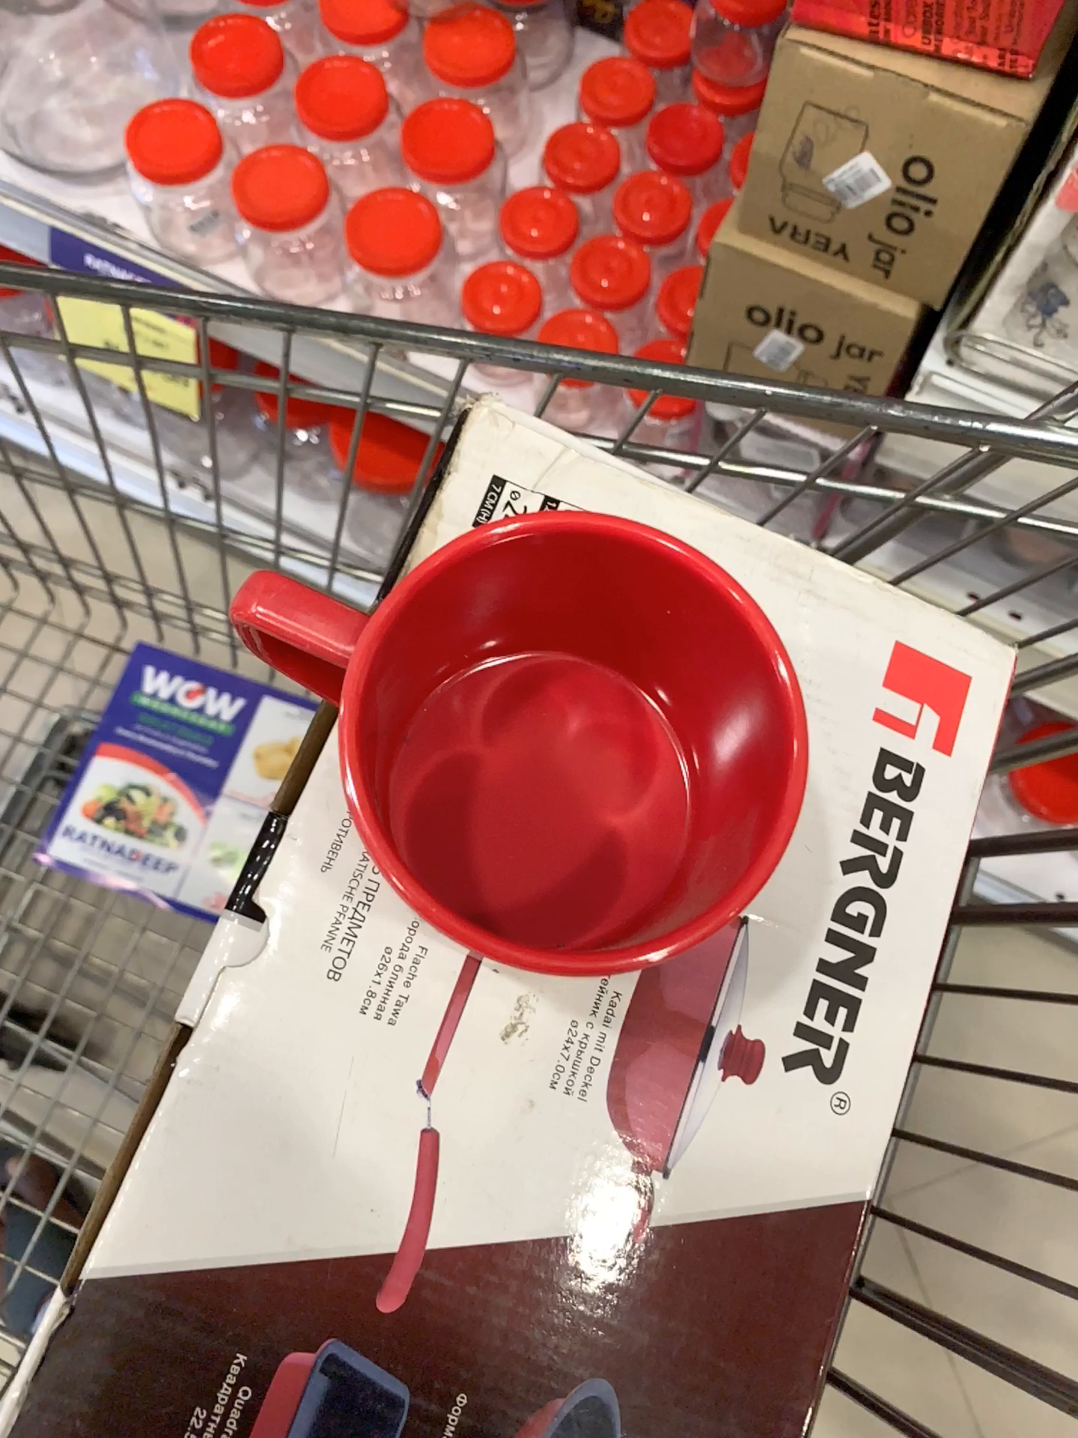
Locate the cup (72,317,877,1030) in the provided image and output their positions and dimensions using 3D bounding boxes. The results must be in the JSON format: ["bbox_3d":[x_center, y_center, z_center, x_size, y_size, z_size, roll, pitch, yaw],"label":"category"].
[{"bbox_3d":[-0.009,-0.003,0.185,0.090,0.060,0.070,27,74,5],"label":"cup"}]
